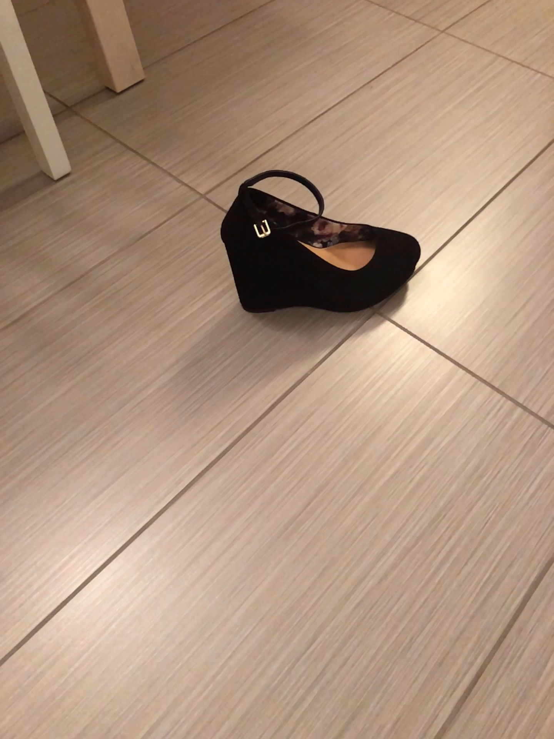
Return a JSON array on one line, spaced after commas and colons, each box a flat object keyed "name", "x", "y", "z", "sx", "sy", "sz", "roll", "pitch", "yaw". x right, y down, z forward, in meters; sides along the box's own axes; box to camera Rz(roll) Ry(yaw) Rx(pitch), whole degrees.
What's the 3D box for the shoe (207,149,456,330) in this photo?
[{"name": "shoe", "x": 0.053, "y": -0.144, "z": 0.687, "sx": 0.240, "sy": 0.139, "sz": 0.100, "roll": -9, "pitch": 56, "yaw": -6}]
